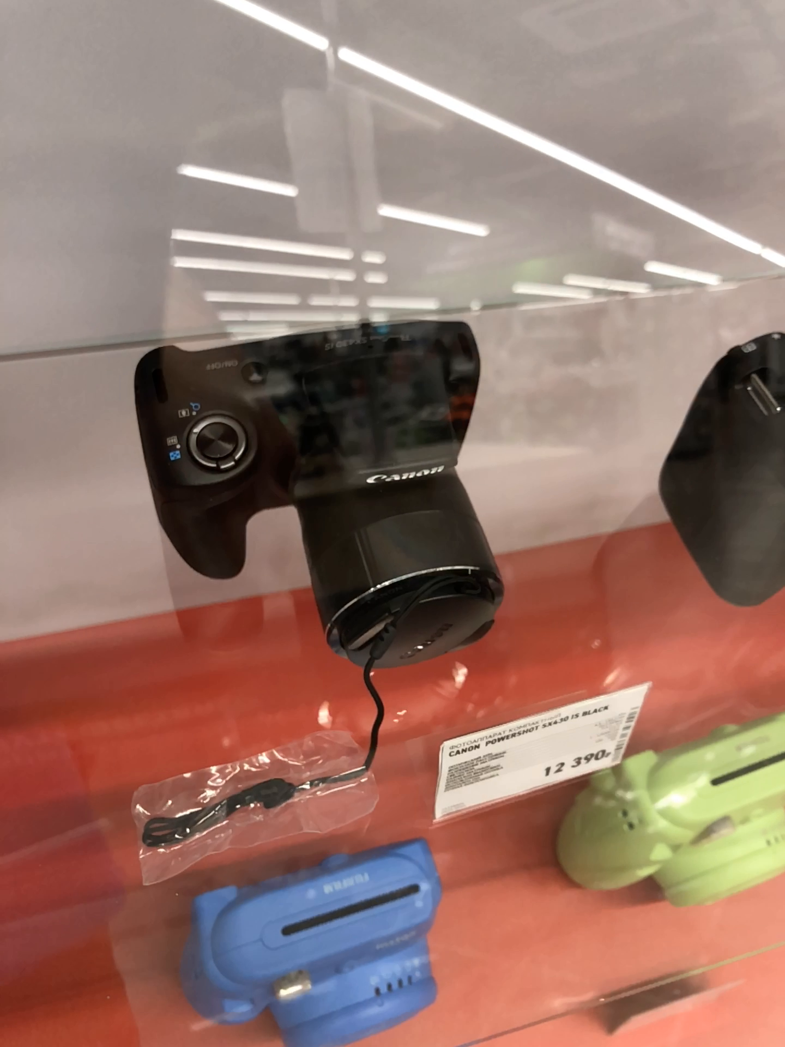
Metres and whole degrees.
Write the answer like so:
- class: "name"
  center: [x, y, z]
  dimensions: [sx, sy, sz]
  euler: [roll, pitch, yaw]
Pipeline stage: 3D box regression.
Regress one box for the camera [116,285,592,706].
- class: "camera"
  center: [-0.017, -0.009, 0.272]
  dimensions: [0.113, 0.080, 0.086]
  euler: [-9, 60, -14]
